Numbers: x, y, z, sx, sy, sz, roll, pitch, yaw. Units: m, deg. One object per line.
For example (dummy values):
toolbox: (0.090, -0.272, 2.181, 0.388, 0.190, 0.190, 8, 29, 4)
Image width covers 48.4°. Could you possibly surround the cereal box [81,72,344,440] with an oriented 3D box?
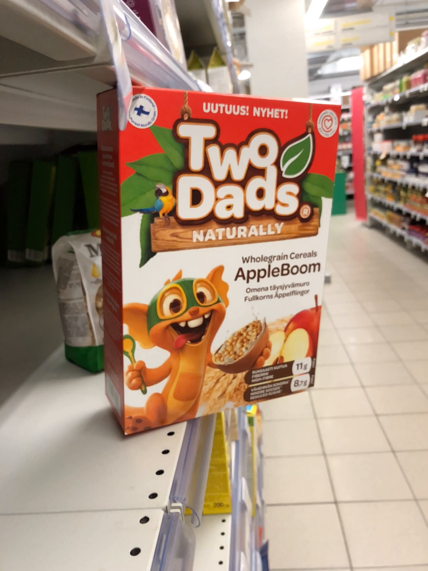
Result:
cereal box: (-0.002, -0.027, 0.422, 0.200, 0.269, 0.080, -6, 16, -27)
